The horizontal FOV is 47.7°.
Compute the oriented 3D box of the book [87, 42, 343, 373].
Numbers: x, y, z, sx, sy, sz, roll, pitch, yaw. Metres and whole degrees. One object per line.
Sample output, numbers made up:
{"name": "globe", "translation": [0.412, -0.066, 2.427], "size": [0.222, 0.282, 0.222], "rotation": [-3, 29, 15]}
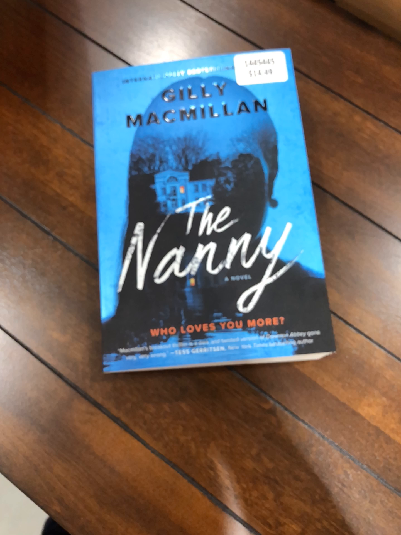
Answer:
{"name": "book", "translation": [0.003, -0.046, 0.332], "size": [0.160, 0.040, 0.230], "rotation": [-4, 74, 4]}
